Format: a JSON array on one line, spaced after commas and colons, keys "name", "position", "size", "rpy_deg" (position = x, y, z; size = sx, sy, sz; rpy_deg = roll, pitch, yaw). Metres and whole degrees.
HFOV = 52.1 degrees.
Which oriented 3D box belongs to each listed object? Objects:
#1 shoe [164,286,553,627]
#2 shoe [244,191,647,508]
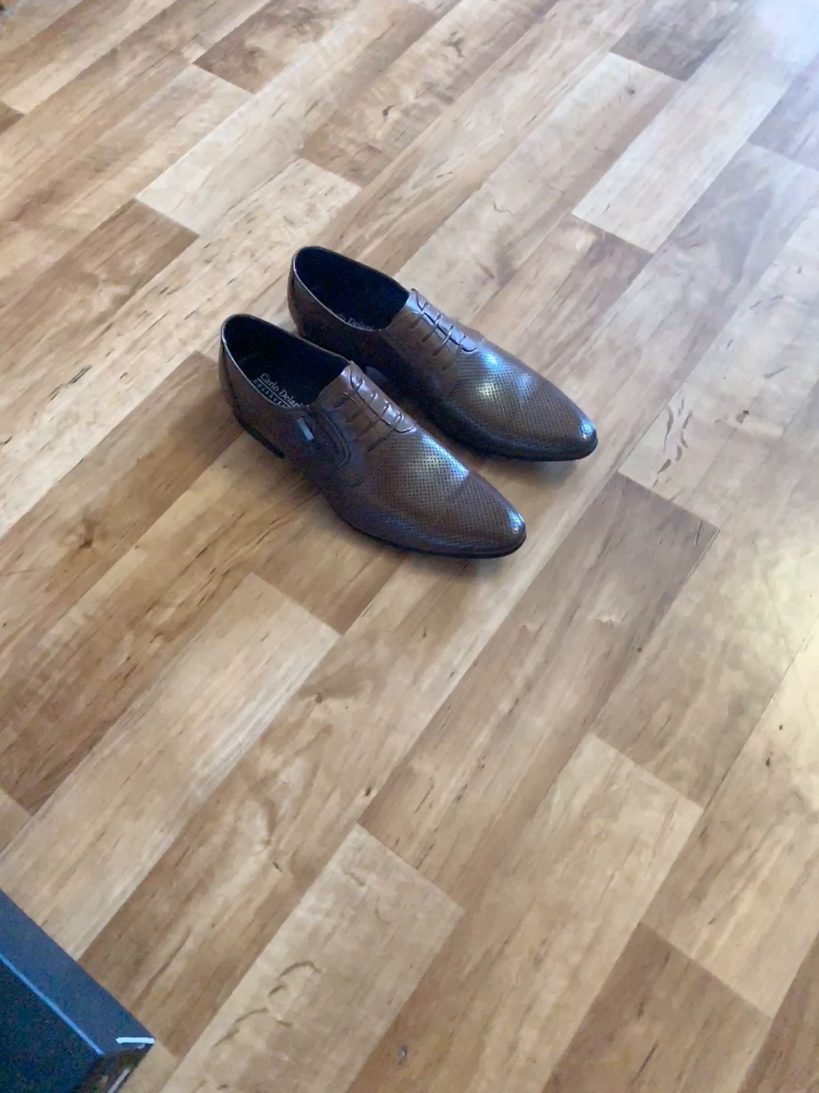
[{"name": "shoe", "position": [-0.043, -0.075, 0.692], "size": [0.300, 0.120, 0.100], "rpy_deg": [33, 70, 17]}, {"name": "shoe", "position": [0.025, -0.170, 0.712], "size": [0.310, 0.100, 0.110], "rpy_deg": [30, 69, 16]}]
